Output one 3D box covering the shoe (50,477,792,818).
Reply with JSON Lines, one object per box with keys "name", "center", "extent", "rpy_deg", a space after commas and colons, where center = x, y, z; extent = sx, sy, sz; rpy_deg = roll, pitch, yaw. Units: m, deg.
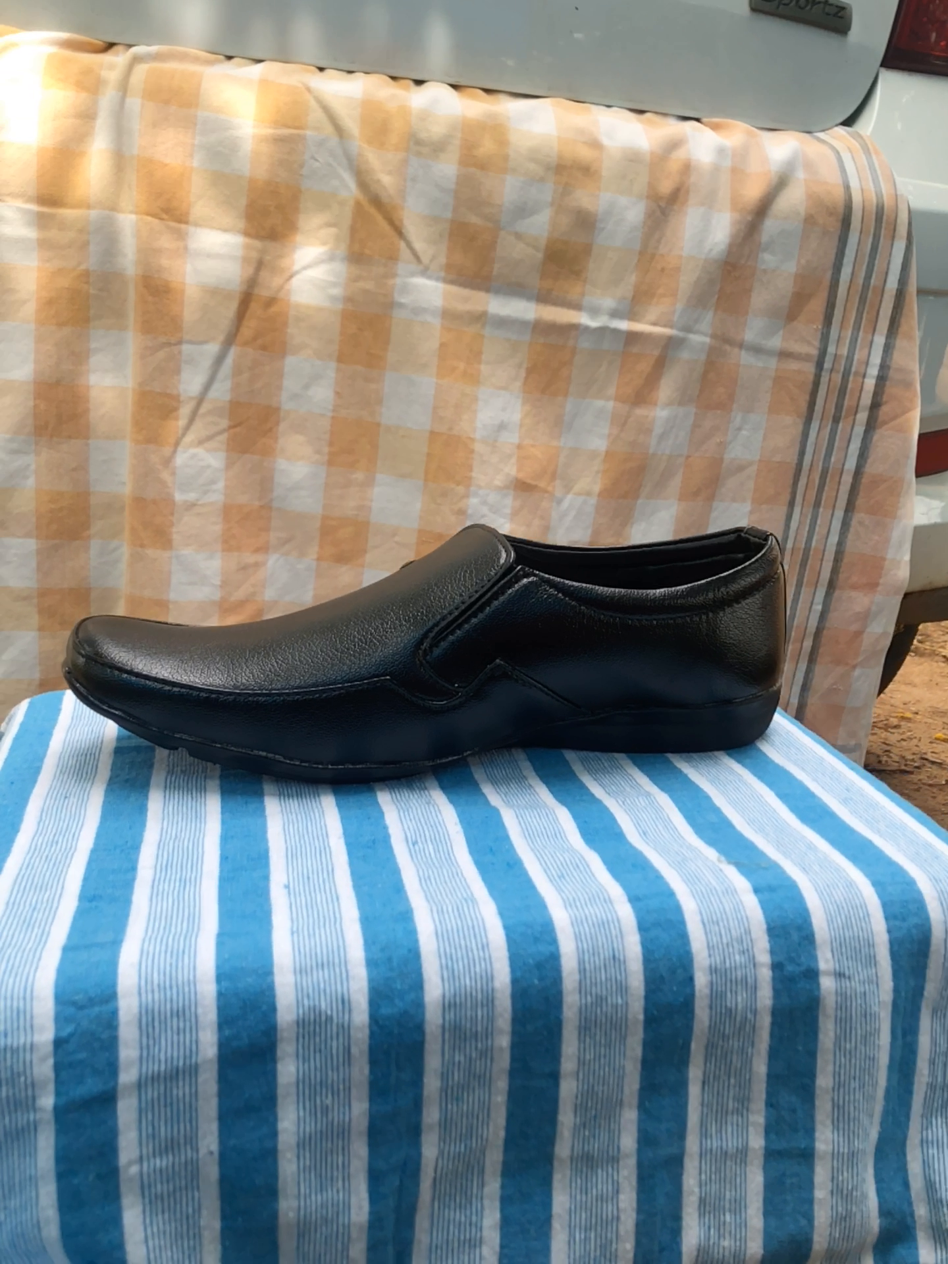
{"name": "shoe", "center": [-0.023, -0.003, 0.465], "extent": [0.300, 0.110, 0.100], "rpy_deg": [-2, 17, -20]}
